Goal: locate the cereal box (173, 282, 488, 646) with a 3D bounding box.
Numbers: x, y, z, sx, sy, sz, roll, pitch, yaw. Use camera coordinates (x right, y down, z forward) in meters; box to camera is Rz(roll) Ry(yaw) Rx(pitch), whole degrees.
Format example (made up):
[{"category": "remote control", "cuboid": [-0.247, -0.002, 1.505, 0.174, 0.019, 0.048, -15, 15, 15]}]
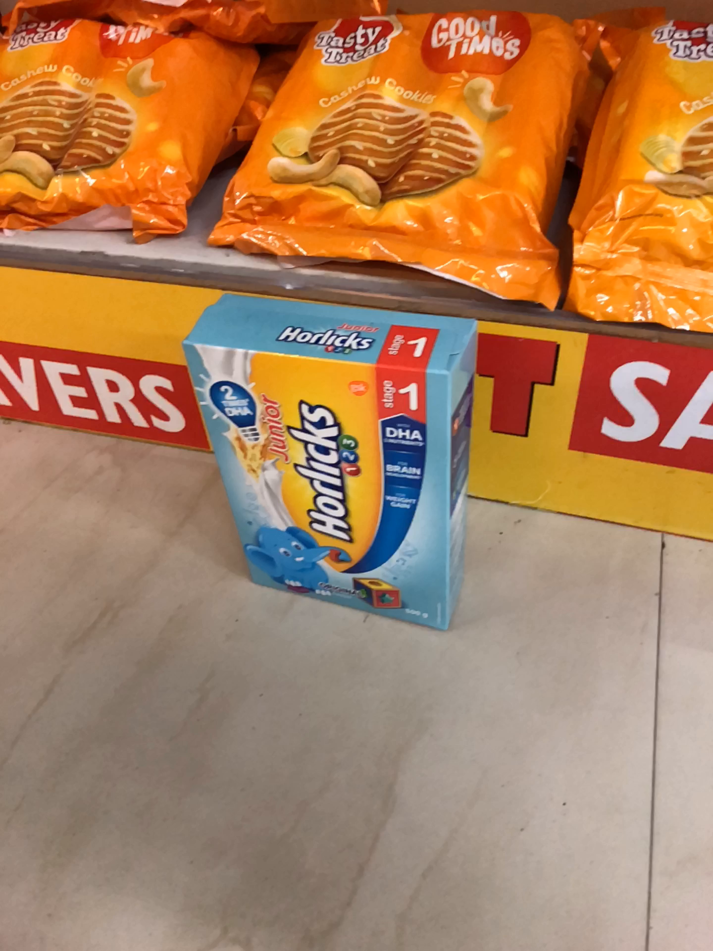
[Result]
[{"category": "cereal box", "cuboid": [-0.003, 0.001, 0.437, 0.140, 0.199, 0.050, 11, 47, 19]}]
